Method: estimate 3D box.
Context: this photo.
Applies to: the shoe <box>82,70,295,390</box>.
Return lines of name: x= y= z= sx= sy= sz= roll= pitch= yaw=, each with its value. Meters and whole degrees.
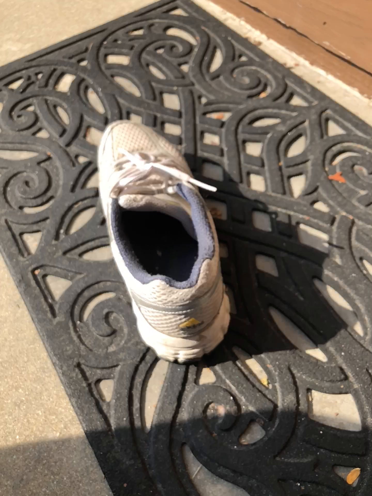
shoe: x=-0.010 y=-0.026 z=0.399 sx=0.110 sy=0.130 sz=0.260 roll=-16 pitch=56 yaw=-4
